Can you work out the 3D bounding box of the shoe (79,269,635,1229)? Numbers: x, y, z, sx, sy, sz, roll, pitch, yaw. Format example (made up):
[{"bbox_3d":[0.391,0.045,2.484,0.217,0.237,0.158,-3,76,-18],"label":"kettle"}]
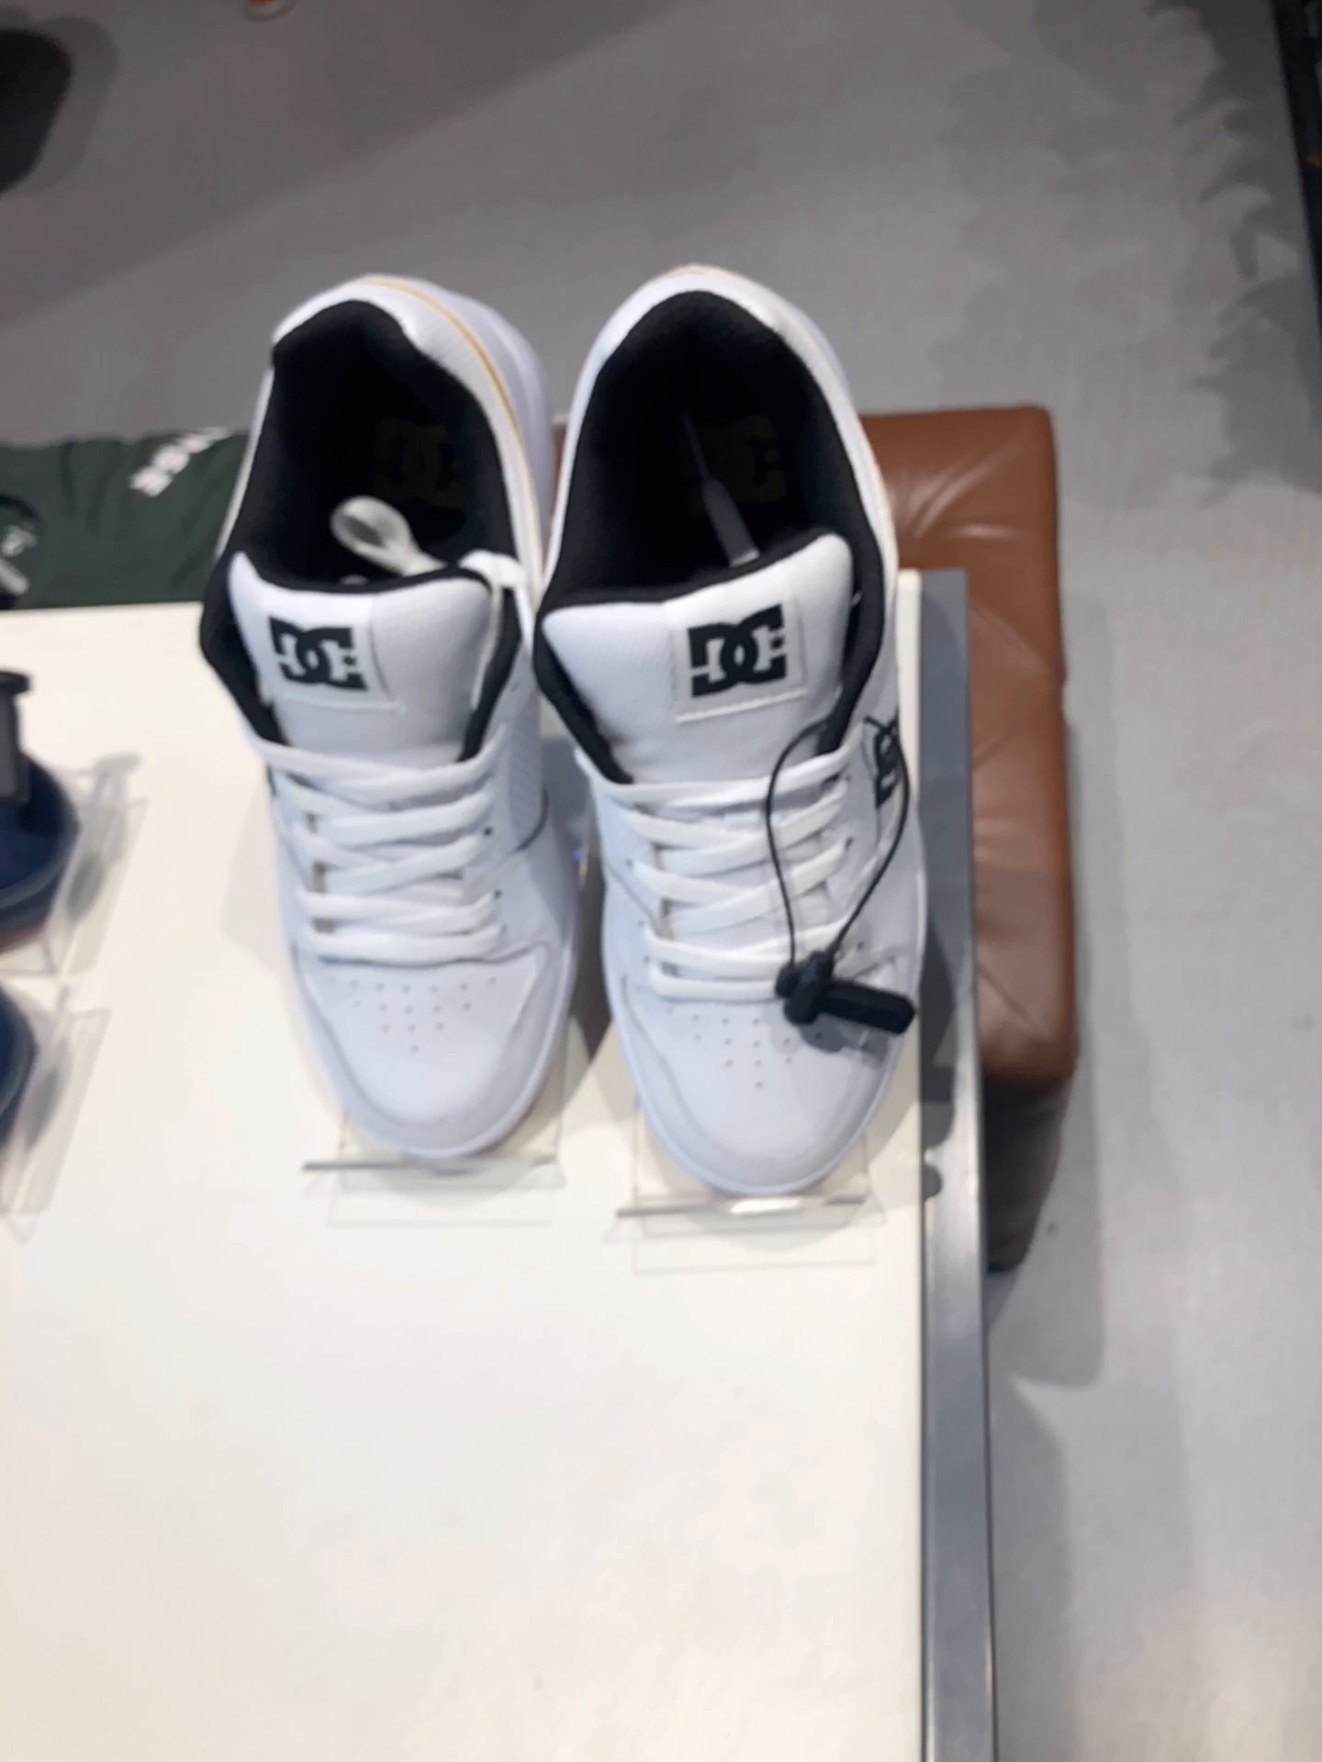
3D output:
[{"bbox_3d":[-0.075,-0.039,0.440,0.103,0.259,0.102,1,21,10],"label":"shoe"}]

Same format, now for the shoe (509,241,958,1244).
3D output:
[{"bbox_3d":[0.028,-0.036,0.412,0.095,0.249,0.102,-3,20,6],"label":"shoe"}]
